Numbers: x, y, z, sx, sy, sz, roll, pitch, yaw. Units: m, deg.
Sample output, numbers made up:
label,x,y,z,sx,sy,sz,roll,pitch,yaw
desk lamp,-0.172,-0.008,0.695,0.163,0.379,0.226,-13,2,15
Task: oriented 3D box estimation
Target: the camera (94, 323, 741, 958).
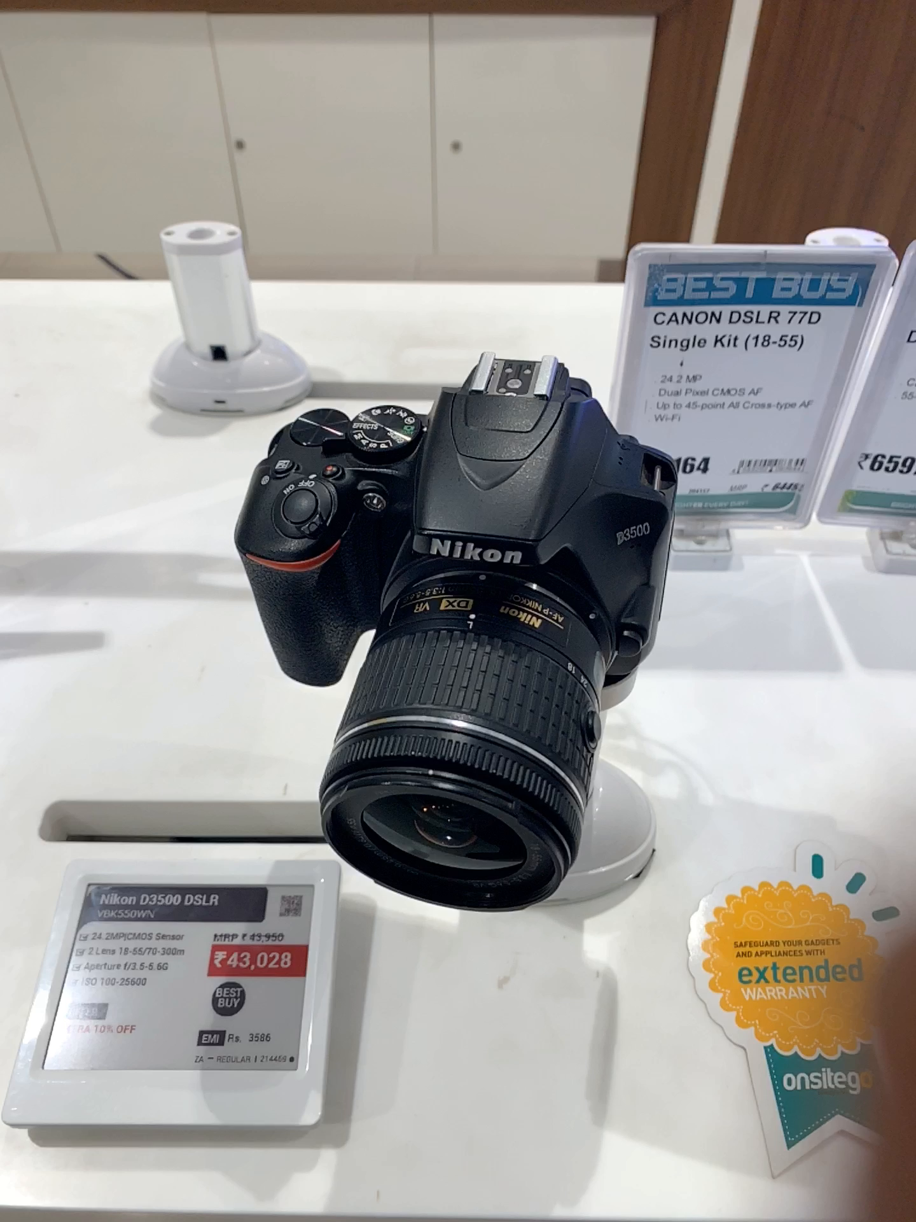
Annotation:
label,x,y,z,sx,sy,sz,roll,pitch,yaw
camera,0.000,0.004,0.225,0.110,0.090,0.103,8,47,7
